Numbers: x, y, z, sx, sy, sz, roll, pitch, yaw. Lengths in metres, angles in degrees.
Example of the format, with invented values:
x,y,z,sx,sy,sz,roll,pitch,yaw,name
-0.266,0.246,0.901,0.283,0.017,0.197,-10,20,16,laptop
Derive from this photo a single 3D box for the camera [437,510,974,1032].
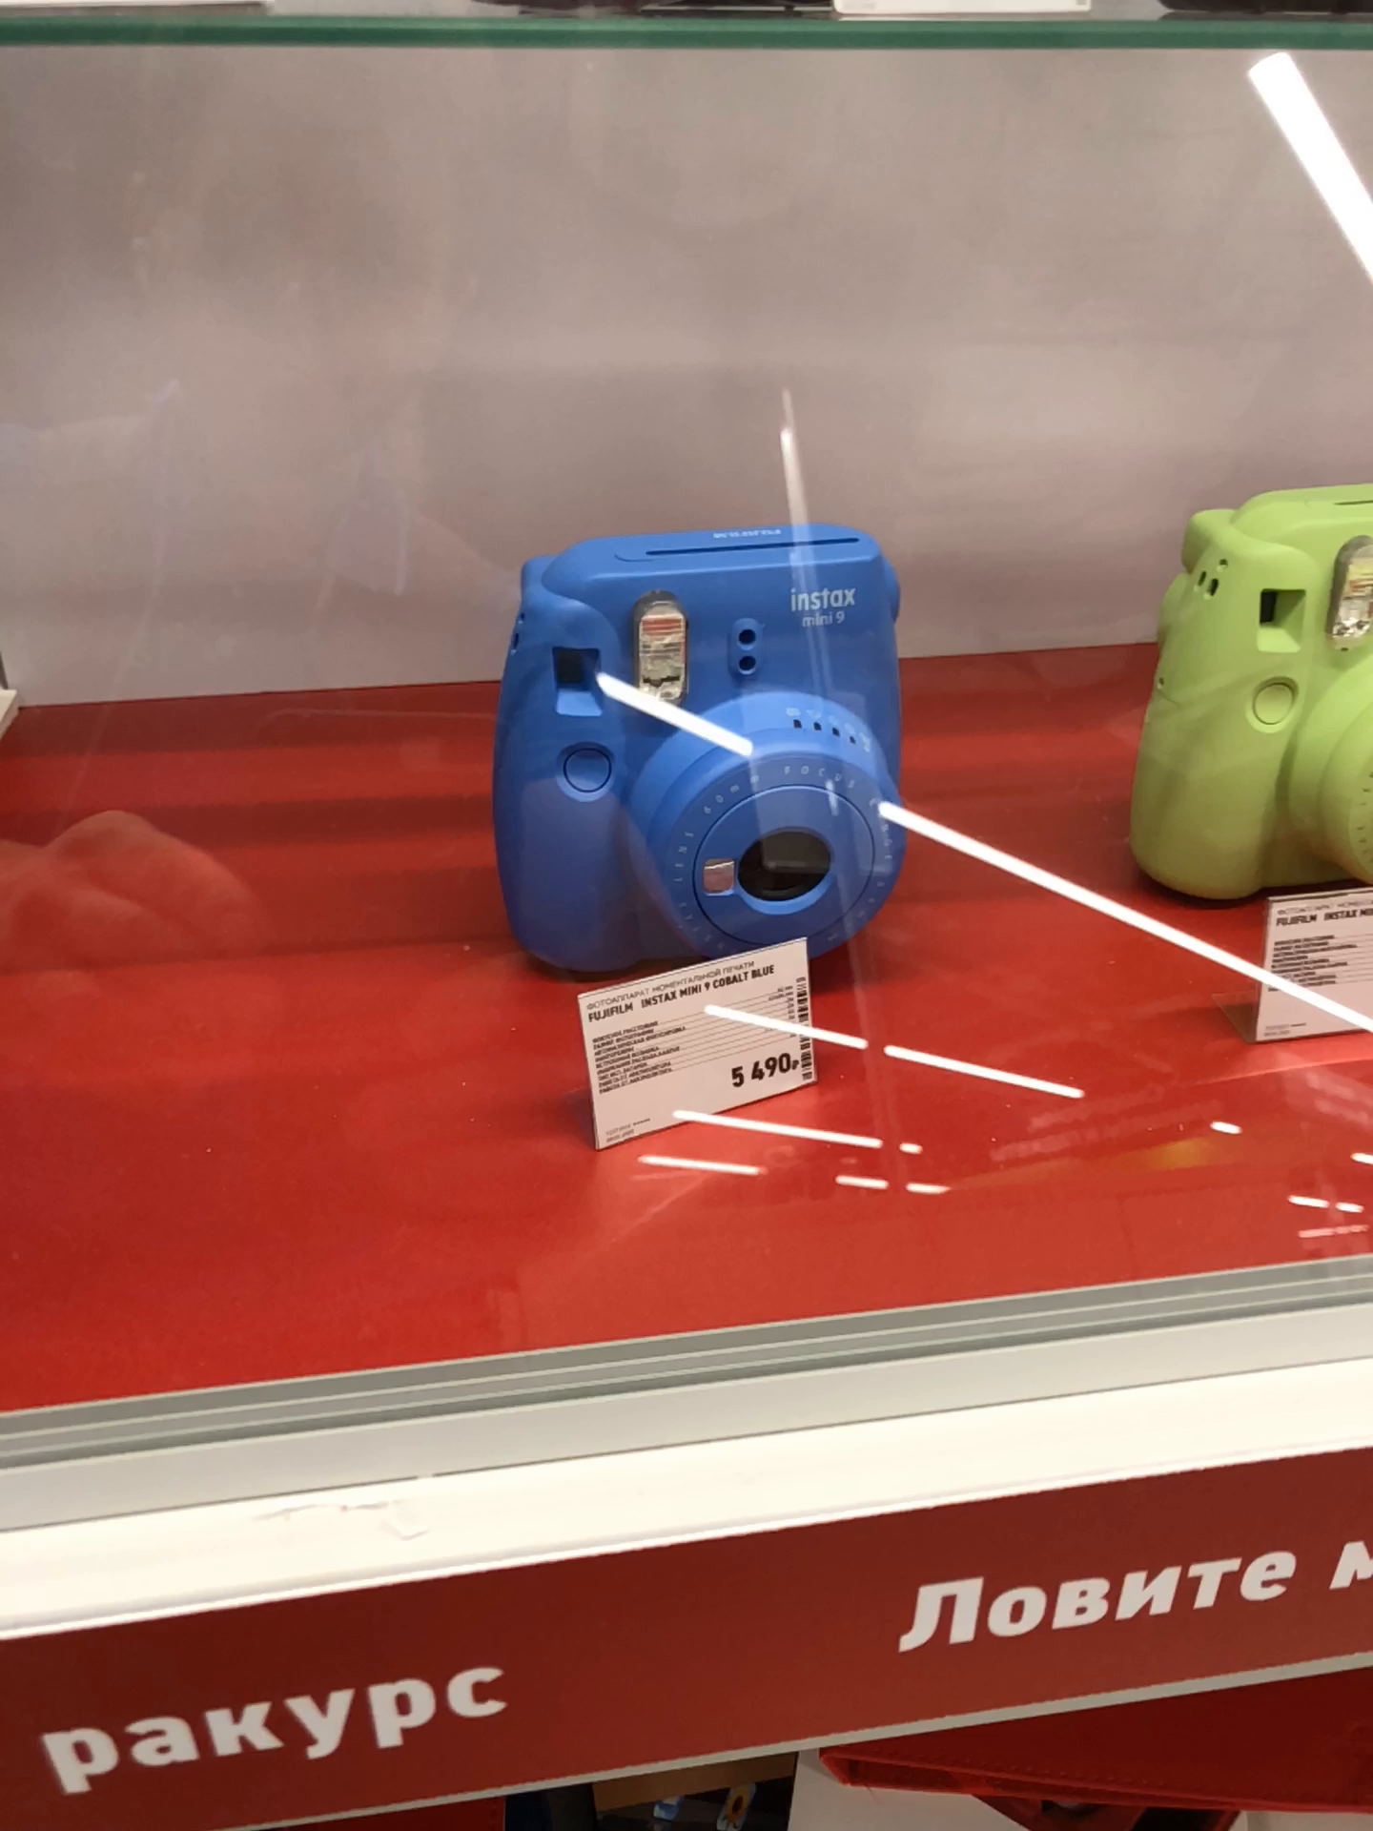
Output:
x,y,z,sx,sy,sz,roll,pitch,yaw,name
0.002,-0.042,0.413,0.122,0.109,0.070,-7,32,-13,camera
